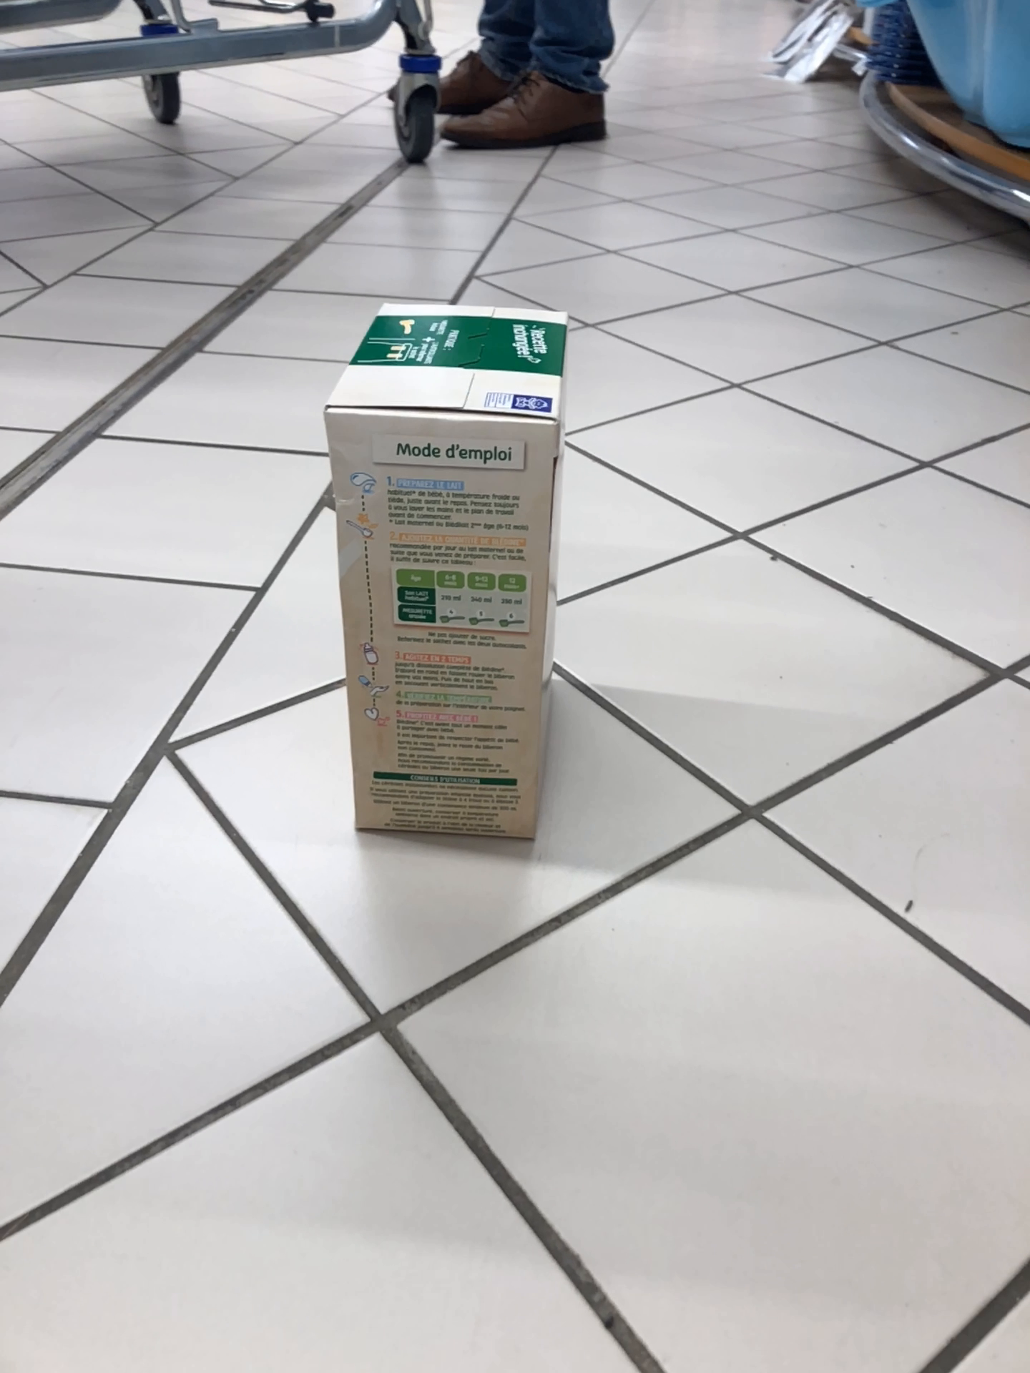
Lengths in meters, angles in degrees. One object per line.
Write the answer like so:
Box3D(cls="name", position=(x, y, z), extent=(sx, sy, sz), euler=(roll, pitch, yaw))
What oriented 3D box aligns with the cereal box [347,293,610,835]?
Box3D(cls="cereal box", position=(-0.010, -0.056, 0.500), extent=(0.090, 0.189, 0.141), euler=(3, 34, 3))
